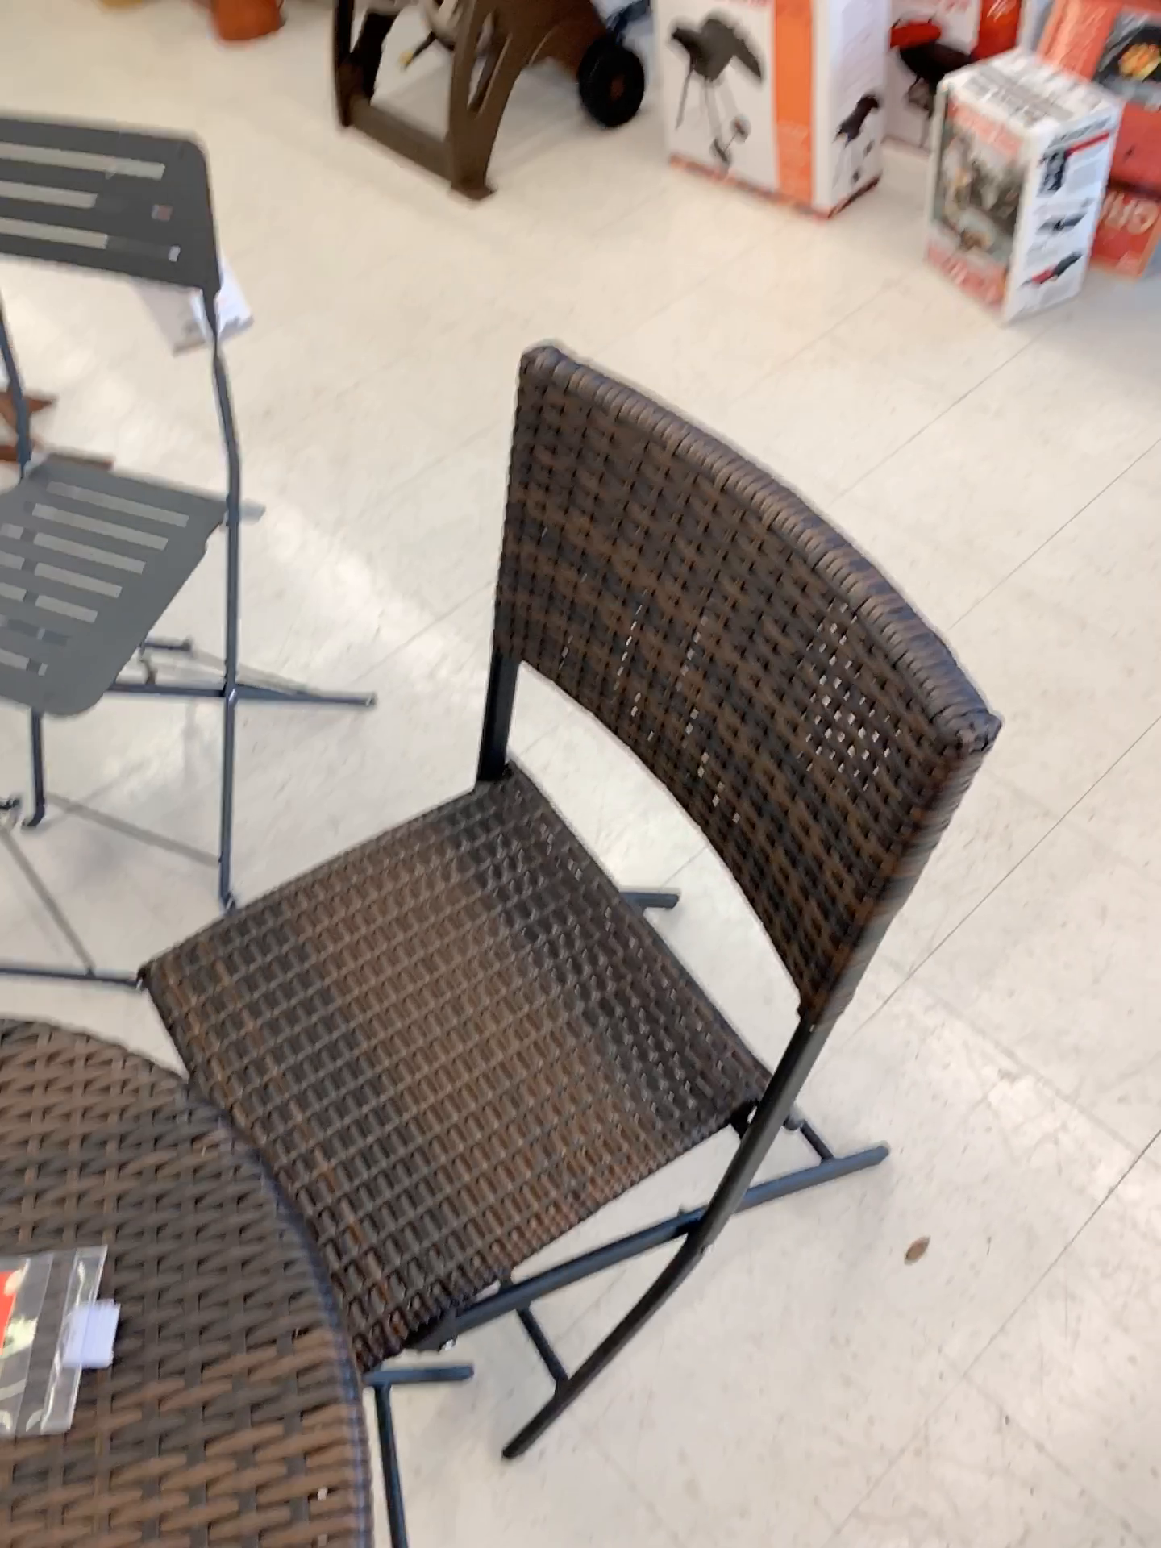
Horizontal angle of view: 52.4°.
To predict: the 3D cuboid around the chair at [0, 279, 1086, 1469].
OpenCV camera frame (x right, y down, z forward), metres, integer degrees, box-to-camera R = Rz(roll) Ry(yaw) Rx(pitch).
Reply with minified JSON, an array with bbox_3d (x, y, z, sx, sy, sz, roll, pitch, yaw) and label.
[{"bbox_3d":[-0.035,0.141,0.984,0.510,0.767,0.482,-31,55,-13],"label":"chair"}]
